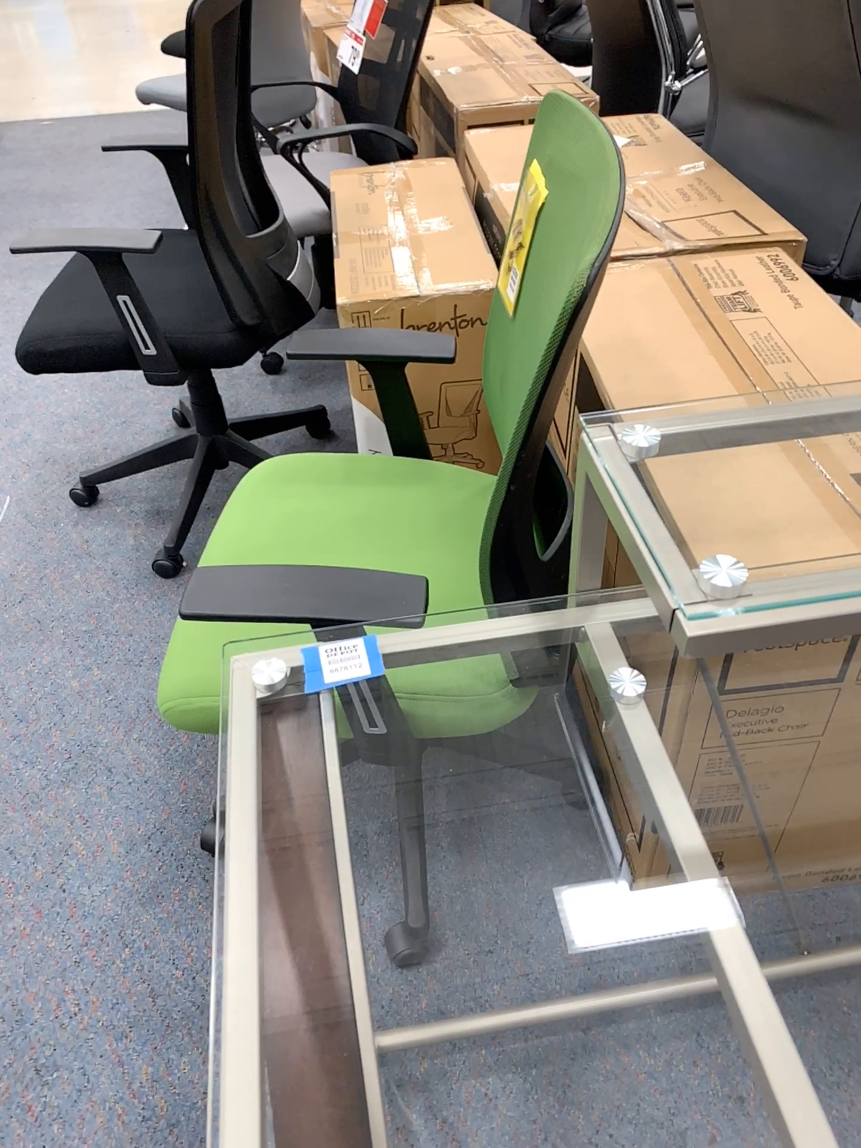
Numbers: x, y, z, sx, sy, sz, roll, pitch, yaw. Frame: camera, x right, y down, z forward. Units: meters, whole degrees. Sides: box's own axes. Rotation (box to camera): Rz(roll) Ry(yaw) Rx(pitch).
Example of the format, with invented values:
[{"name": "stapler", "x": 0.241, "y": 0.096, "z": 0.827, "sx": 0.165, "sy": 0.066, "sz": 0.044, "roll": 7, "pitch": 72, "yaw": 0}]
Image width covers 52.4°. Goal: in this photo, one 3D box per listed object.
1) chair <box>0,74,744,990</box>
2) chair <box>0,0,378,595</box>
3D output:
[{"name": "chair", "x": -0.060, "y": -0.026, "z": 1.097, "sx": 0.597, "sy": 0.912, "sz": 0.647, "roll": 2, "pitch": 42, "yaw": 6}, {"name": "chair", "x": -0.510, "y": -0.548, "z": 1.653, "sx": 0.657, "sy": 0.972, "sz": 0.647, "roll": 2, "pitch": 42, "yaw": 6}]
